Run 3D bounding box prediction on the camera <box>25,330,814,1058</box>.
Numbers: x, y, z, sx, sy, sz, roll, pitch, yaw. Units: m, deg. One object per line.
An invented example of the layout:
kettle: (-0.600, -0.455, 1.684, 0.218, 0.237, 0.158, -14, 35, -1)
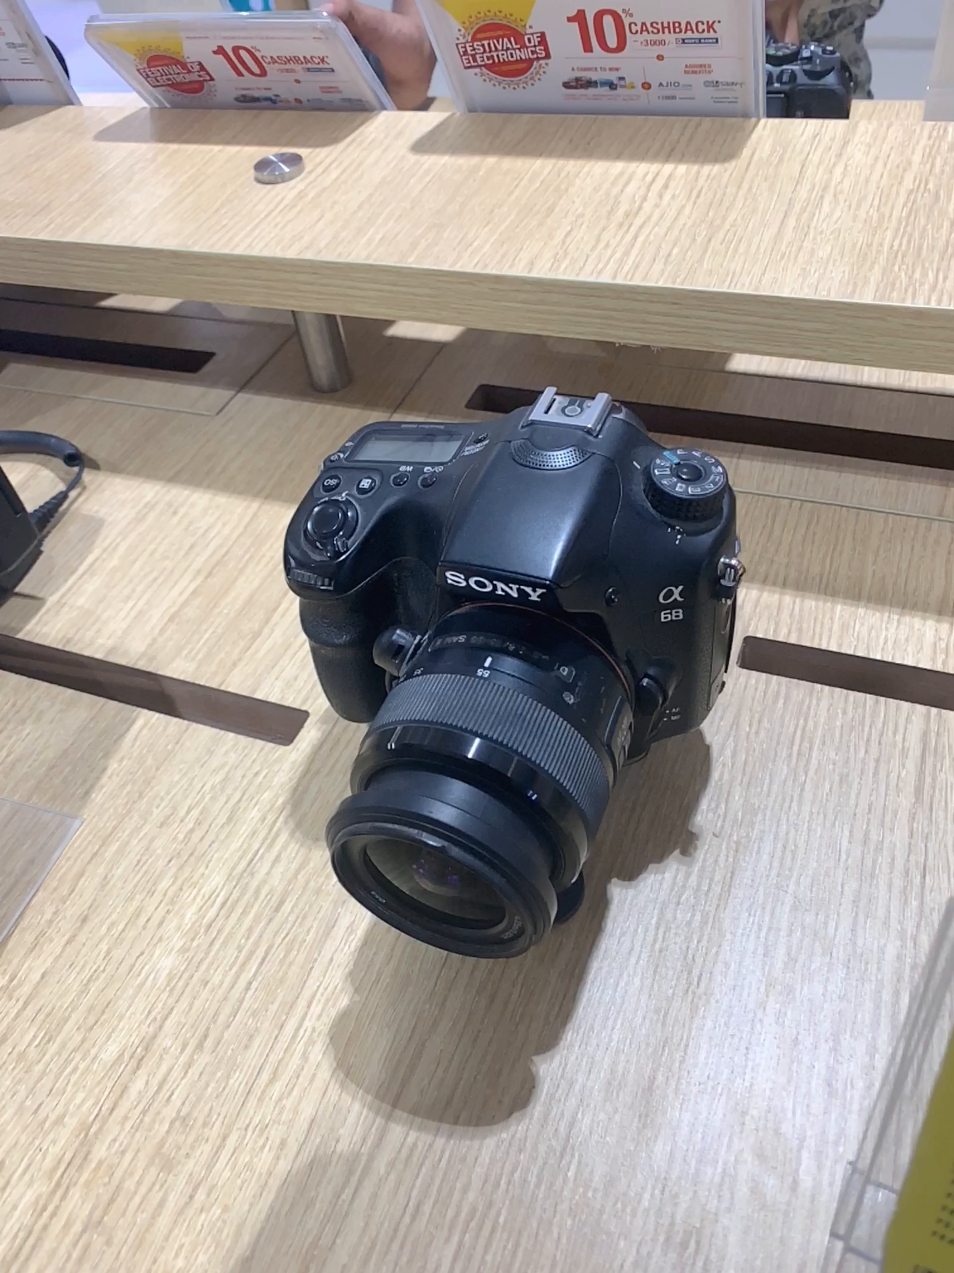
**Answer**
camera: (0.000, 0.003, 0.280, 0.150, 0.100, 0.150, 12, 50, 19)
